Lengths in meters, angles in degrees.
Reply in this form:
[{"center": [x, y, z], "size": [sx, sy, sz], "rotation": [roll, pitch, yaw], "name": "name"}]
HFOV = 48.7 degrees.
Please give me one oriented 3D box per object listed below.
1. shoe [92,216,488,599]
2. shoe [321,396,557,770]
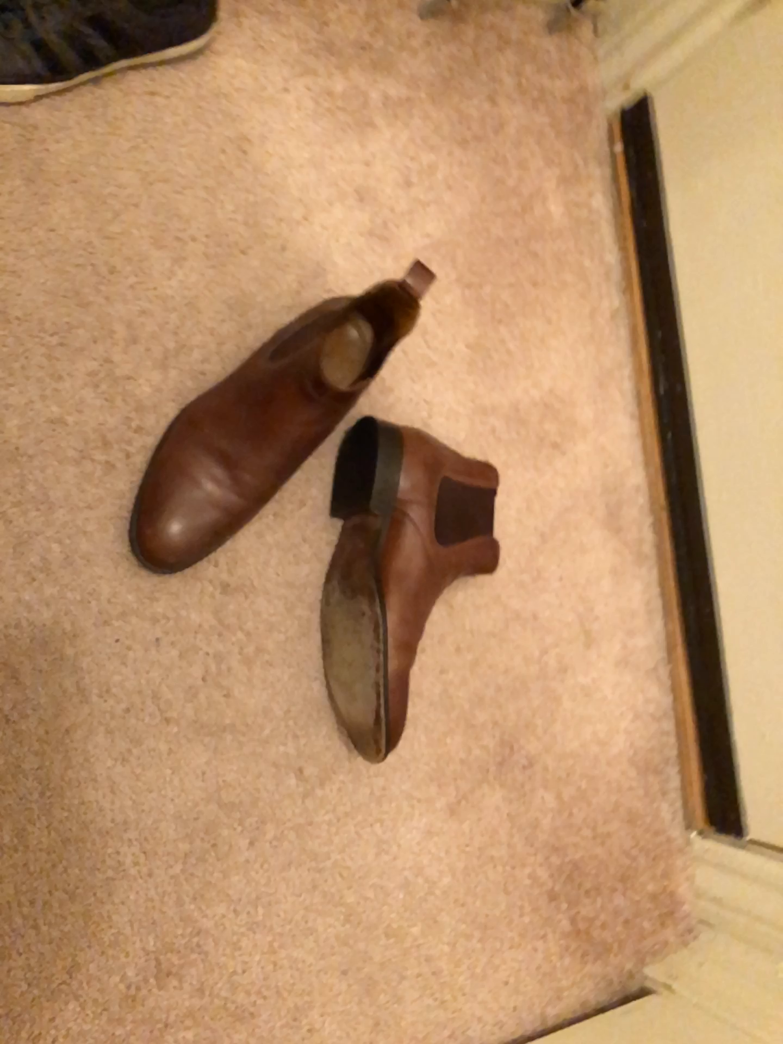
[{"center": [-0.083, -0.085, 0.696], "size": [0.109, 0.159, 0.297], "rotation": [46, 69, -14], "name": "shoe"}, {"center": [0.042, 0.055, 0.778], "size": [0.169, 0.119, 0.296], "rotation": [4, 85, -26], "name": "shoe"}]
